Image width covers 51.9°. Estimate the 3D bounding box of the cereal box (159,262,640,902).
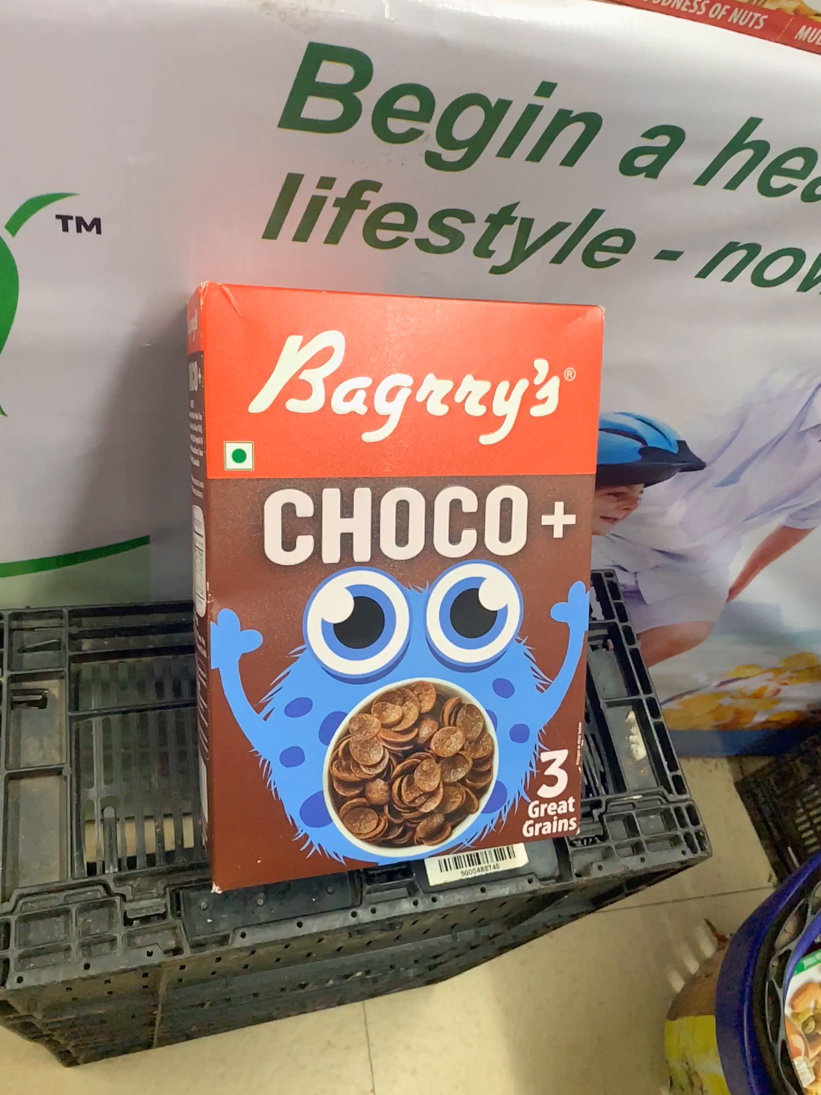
[{"bbox_3d":[-0.009,0.010,0.378,0.190,0.080,0.240,-2,99,-18],"label":"cereal box"}]
